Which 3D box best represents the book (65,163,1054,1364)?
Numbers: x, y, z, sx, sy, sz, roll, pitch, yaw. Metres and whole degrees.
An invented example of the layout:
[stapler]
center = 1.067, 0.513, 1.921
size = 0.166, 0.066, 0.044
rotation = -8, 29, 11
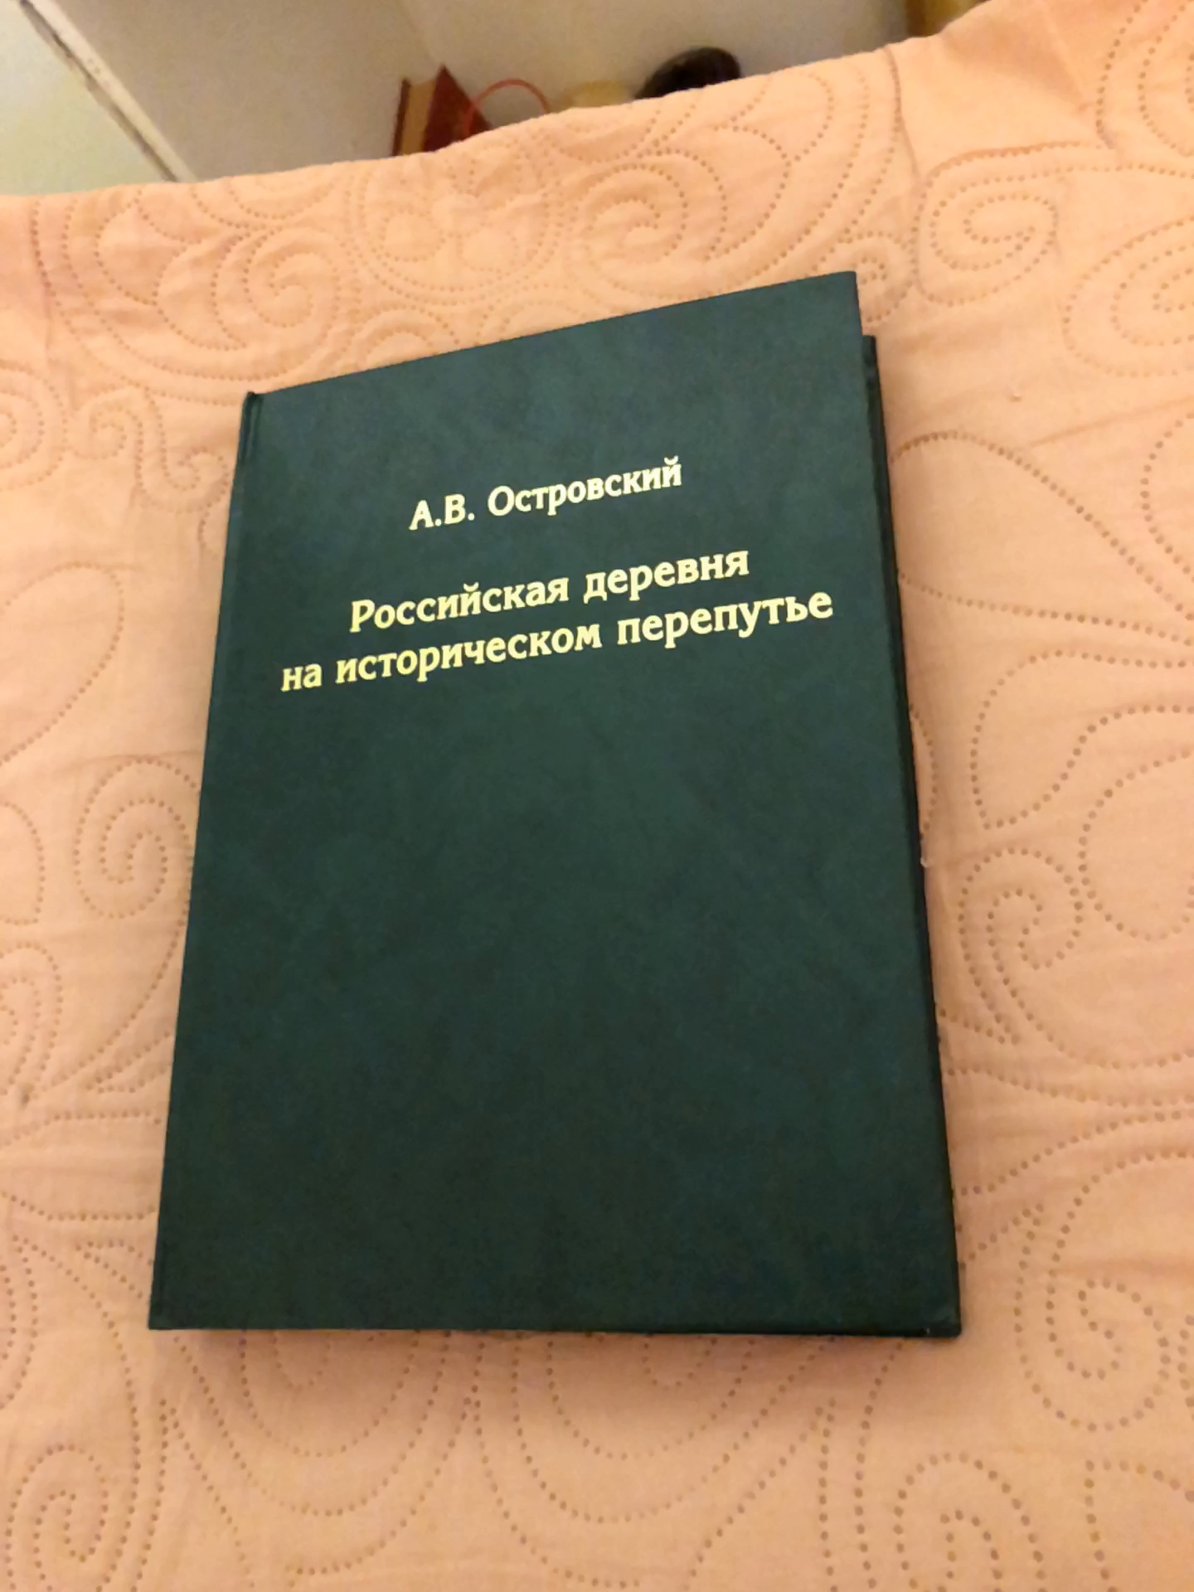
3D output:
[book]
center = -0.011, -0.009, 0.288
size = 0.180, 0.040, 0.241
rotation = -7, 68, 16
